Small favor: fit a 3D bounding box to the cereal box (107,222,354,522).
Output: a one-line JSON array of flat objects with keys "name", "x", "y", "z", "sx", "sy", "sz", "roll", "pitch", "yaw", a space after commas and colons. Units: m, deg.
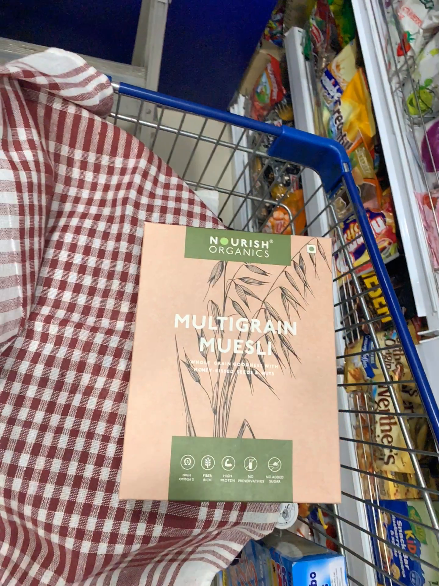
[{"name": "cereal box", "x": 0.010, "y": 0.056, "z": 0.338, "sx": 0.160, "sy": 0.050, "sz": 0.200, "roll": 4, "pitch": 74, "yaw": -8}]
